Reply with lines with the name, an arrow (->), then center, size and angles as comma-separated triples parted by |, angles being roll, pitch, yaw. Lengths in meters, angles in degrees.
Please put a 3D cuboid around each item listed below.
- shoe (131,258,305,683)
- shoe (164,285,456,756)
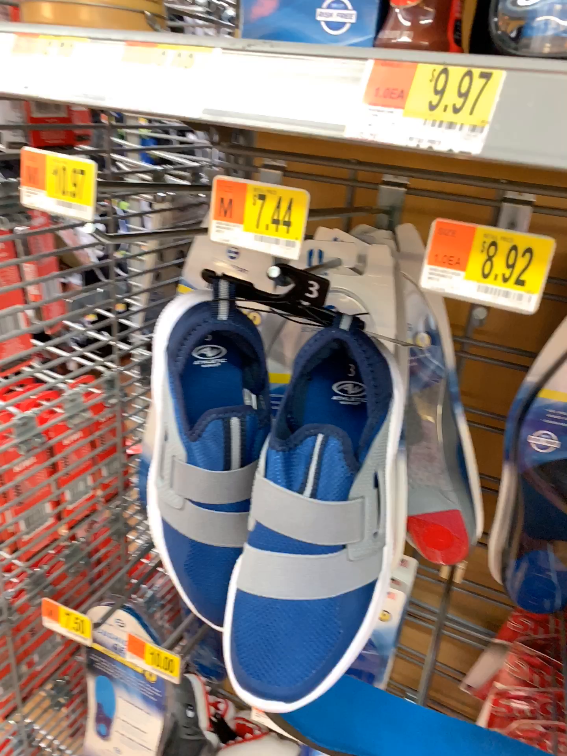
shoe -> -0.048, 0.052, 0.396 | 0.095, 0.246, 0.098 | -2, -3, -11
shoe -> 0.027, 0.078, 0.351 | 0.101, 0.233, 0.098 | 12, -13, 14
